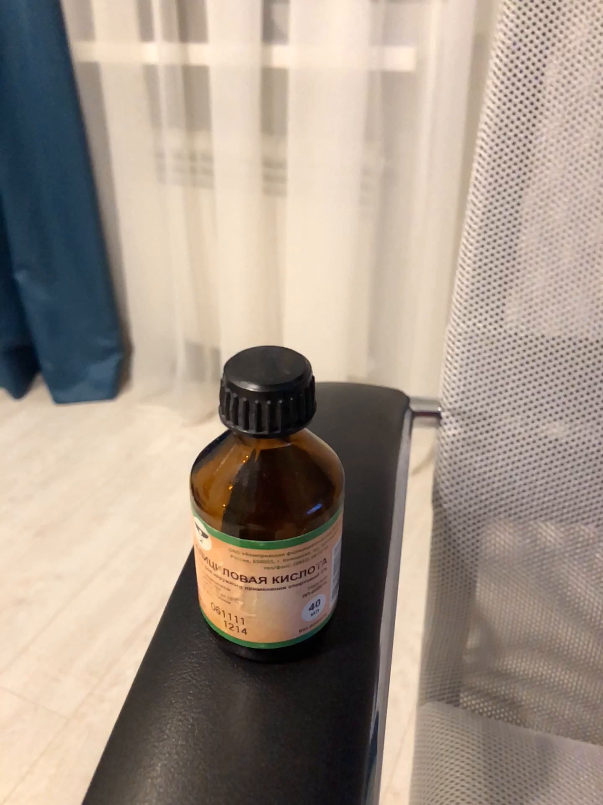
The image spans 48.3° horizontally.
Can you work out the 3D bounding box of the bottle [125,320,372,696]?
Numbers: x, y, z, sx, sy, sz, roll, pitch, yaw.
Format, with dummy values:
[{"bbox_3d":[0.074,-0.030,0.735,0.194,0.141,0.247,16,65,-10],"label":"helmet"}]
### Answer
[{"bbox_3d":[-0.009,0.027,0.181,0.050,0.083,0.050,0,30,0],"label":"bottle"}]
